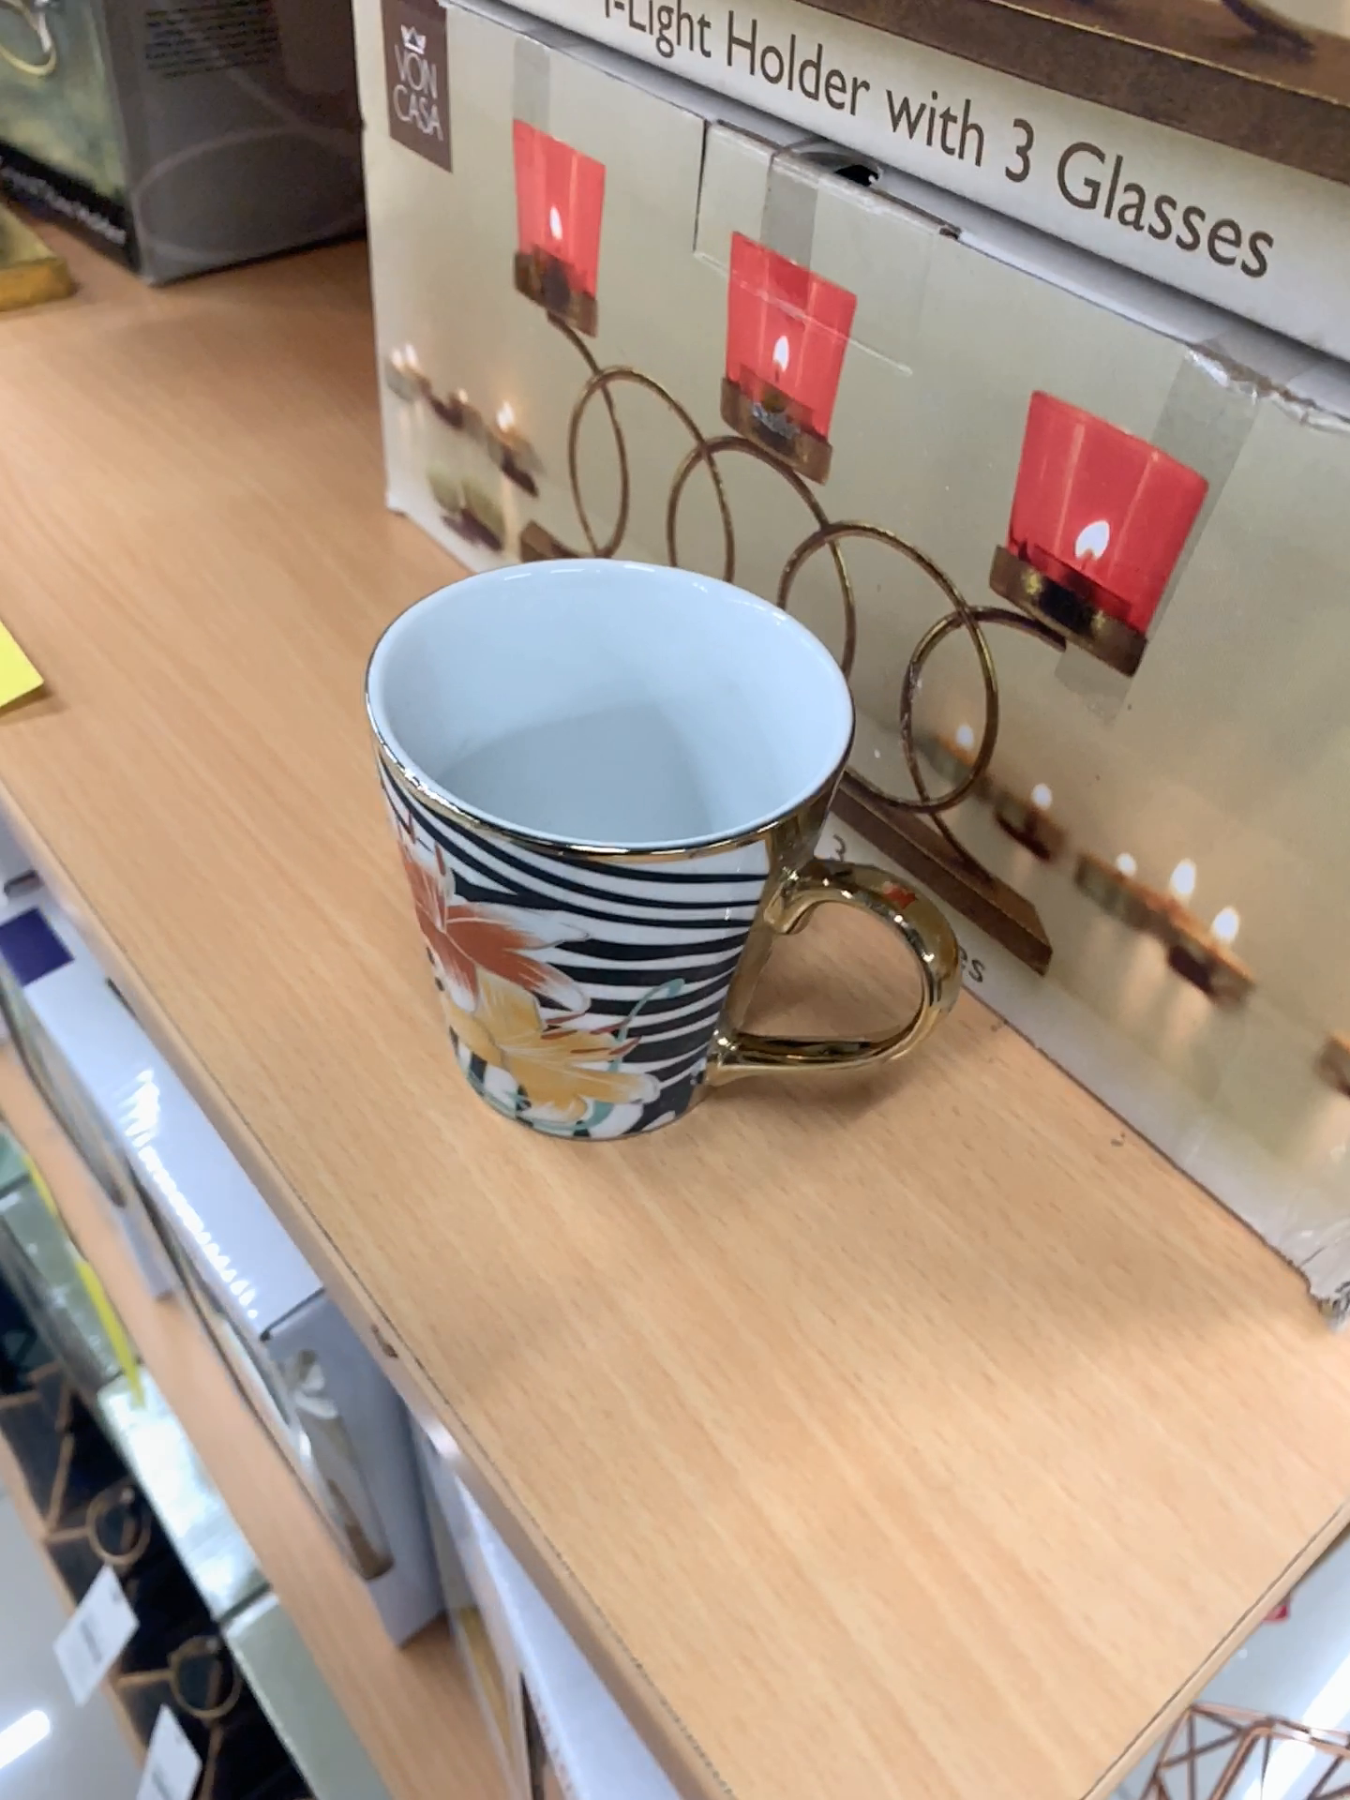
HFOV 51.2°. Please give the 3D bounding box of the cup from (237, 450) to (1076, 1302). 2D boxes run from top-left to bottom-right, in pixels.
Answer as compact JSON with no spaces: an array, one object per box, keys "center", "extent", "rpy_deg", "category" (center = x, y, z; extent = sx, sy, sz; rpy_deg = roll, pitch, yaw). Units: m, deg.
[{"center":[-0.006,-0.008,0.232],"extent":[0.100,0.080,0.070],"rpy_deg":[31,49,21],"category":"cup"}]
